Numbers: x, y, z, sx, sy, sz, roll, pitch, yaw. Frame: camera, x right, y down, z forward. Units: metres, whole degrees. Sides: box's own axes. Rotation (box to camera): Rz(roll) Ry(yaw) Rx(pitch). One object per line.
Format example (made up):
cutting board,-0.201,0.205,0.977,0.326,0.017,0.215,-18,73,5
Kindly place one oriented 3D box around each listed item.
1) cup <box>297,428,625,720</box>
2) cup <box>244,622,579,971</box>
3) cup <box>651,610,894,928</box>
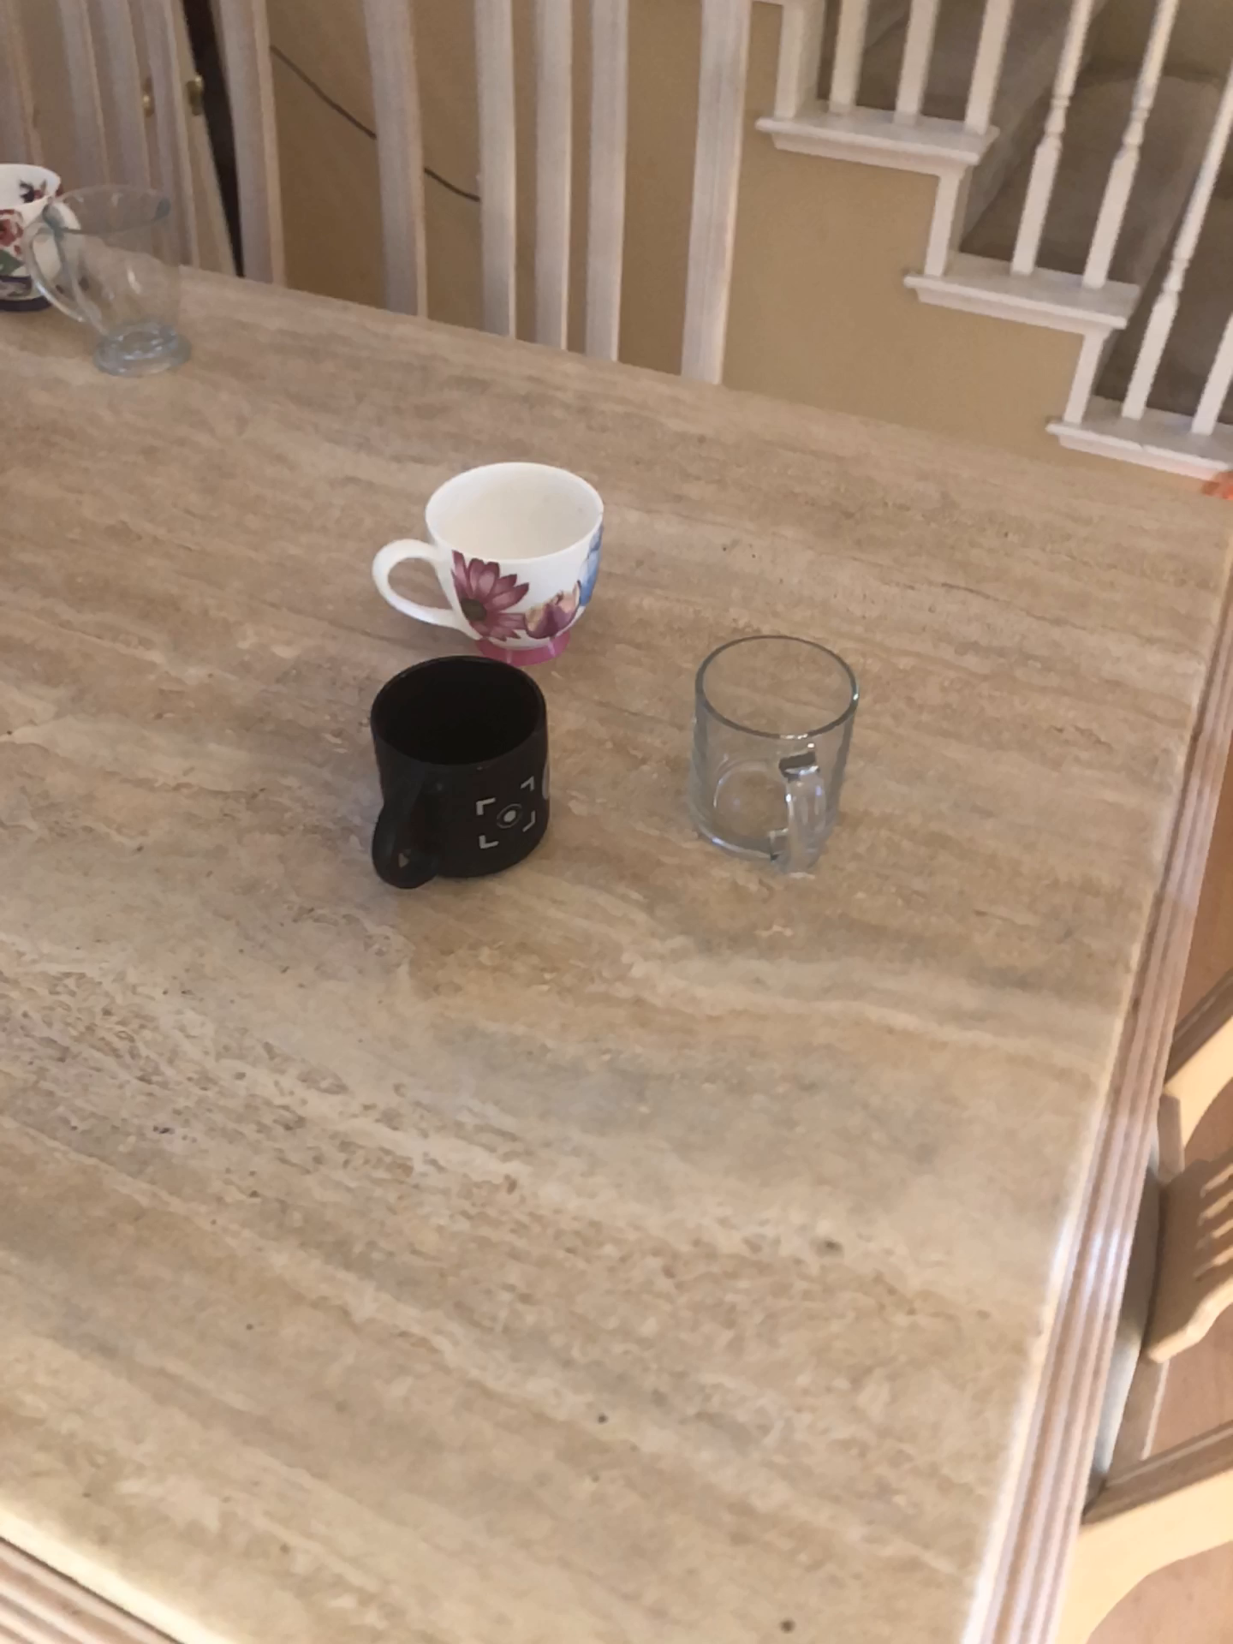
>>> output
cup,-0.094,-0.157,0.838,0.161,0.089,0.121,-21,49,-20
cup,-0.102,-0.017,0.719,0.100,0.089,0.141,27,51,23
cup,0.077,-0.031,0.725,0.090,0.089,0.141,-7,46,-7
